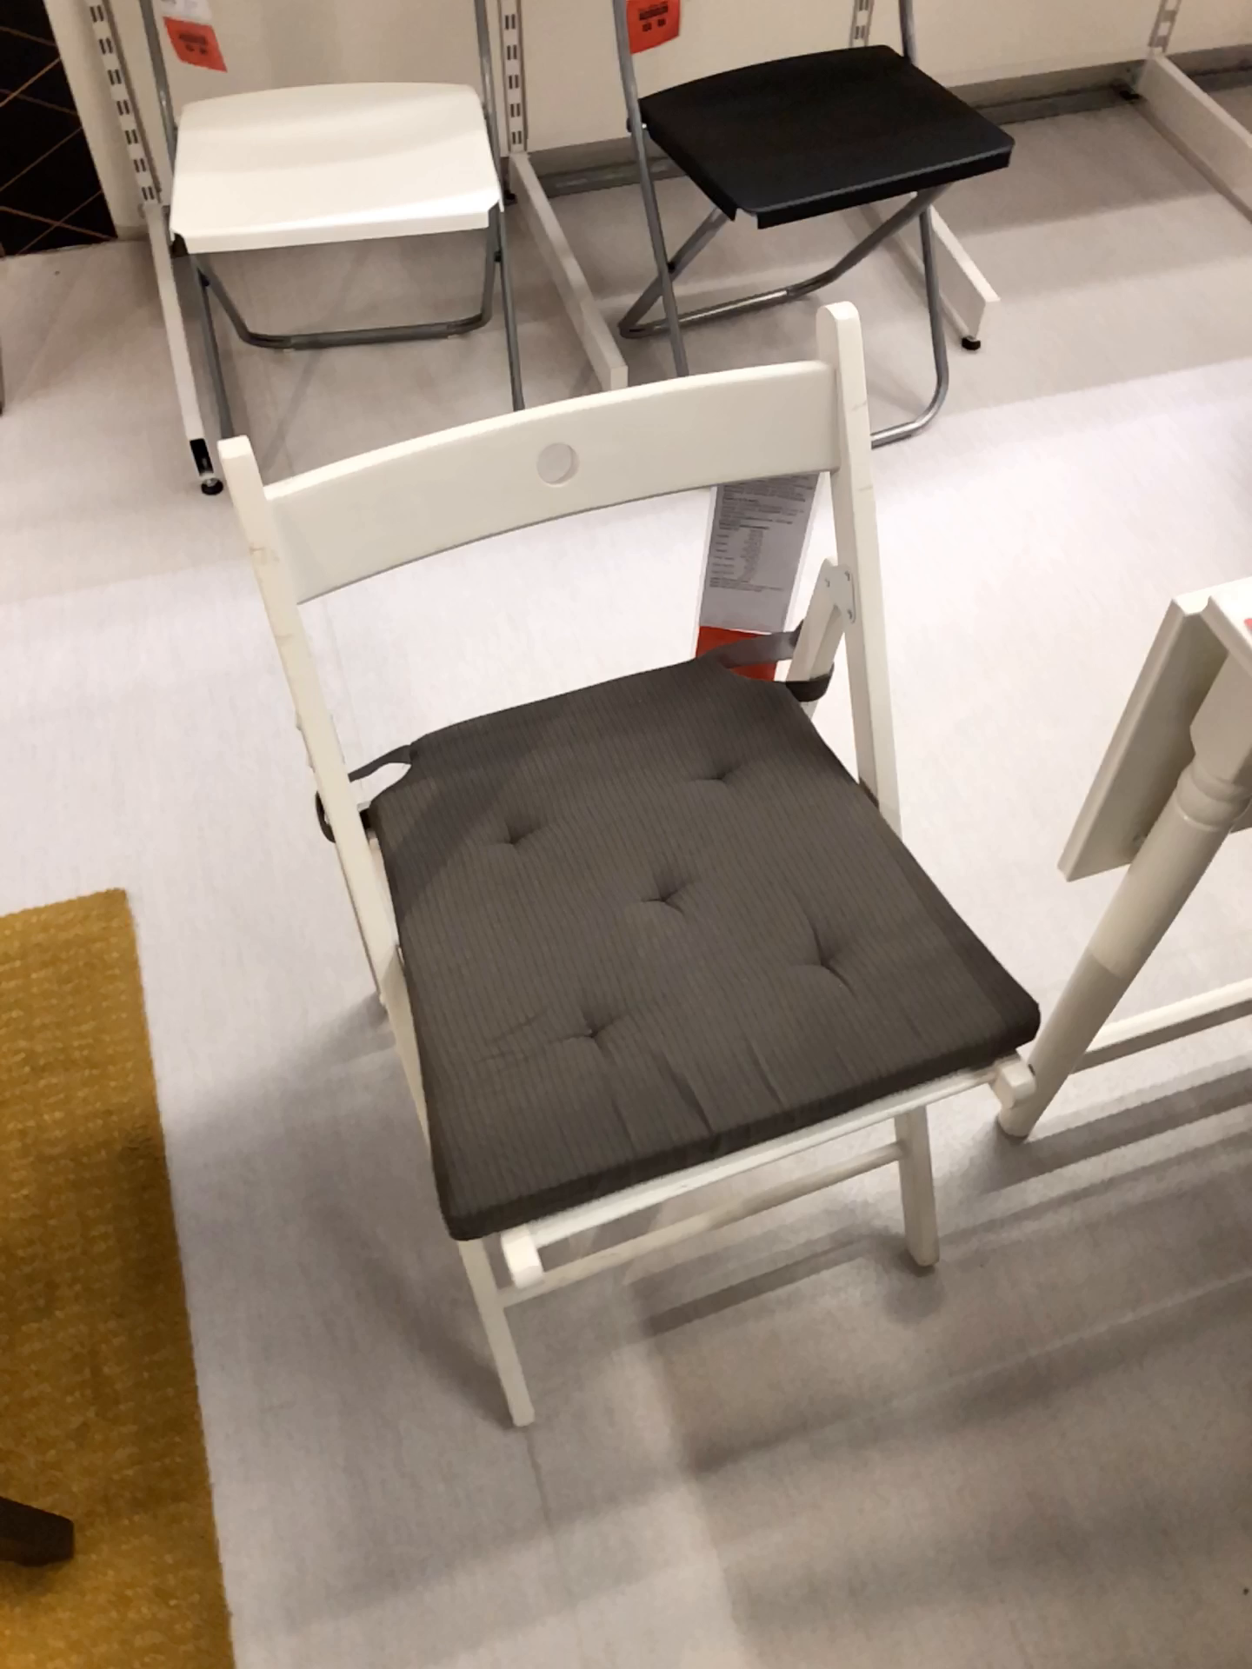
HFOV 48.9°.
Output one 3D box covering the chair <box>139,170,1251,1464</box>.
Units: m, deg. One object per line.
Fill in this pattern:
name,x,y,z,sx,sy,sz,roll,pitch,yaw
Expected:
chair,0.026,0.043,0.927,0.440,0.696,0.452,-16,57,-12
